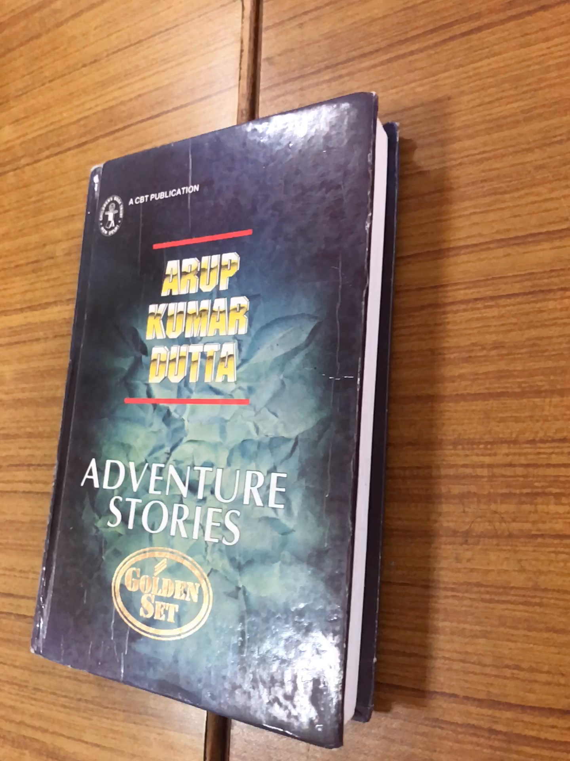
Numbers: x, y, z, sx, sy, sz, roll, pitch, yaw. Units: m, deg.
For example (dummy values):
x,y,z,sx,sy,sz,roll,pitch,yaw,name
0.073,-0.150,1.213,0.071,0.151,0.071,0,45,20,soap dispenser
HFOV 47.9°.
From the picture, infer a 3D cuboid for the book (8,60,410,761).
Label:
x,y,z,sx,sy,sz,roll,pitch,yaw,name
-0.031,0.008,0.245,0.146,0.036,0.218,-1,81,30,book
